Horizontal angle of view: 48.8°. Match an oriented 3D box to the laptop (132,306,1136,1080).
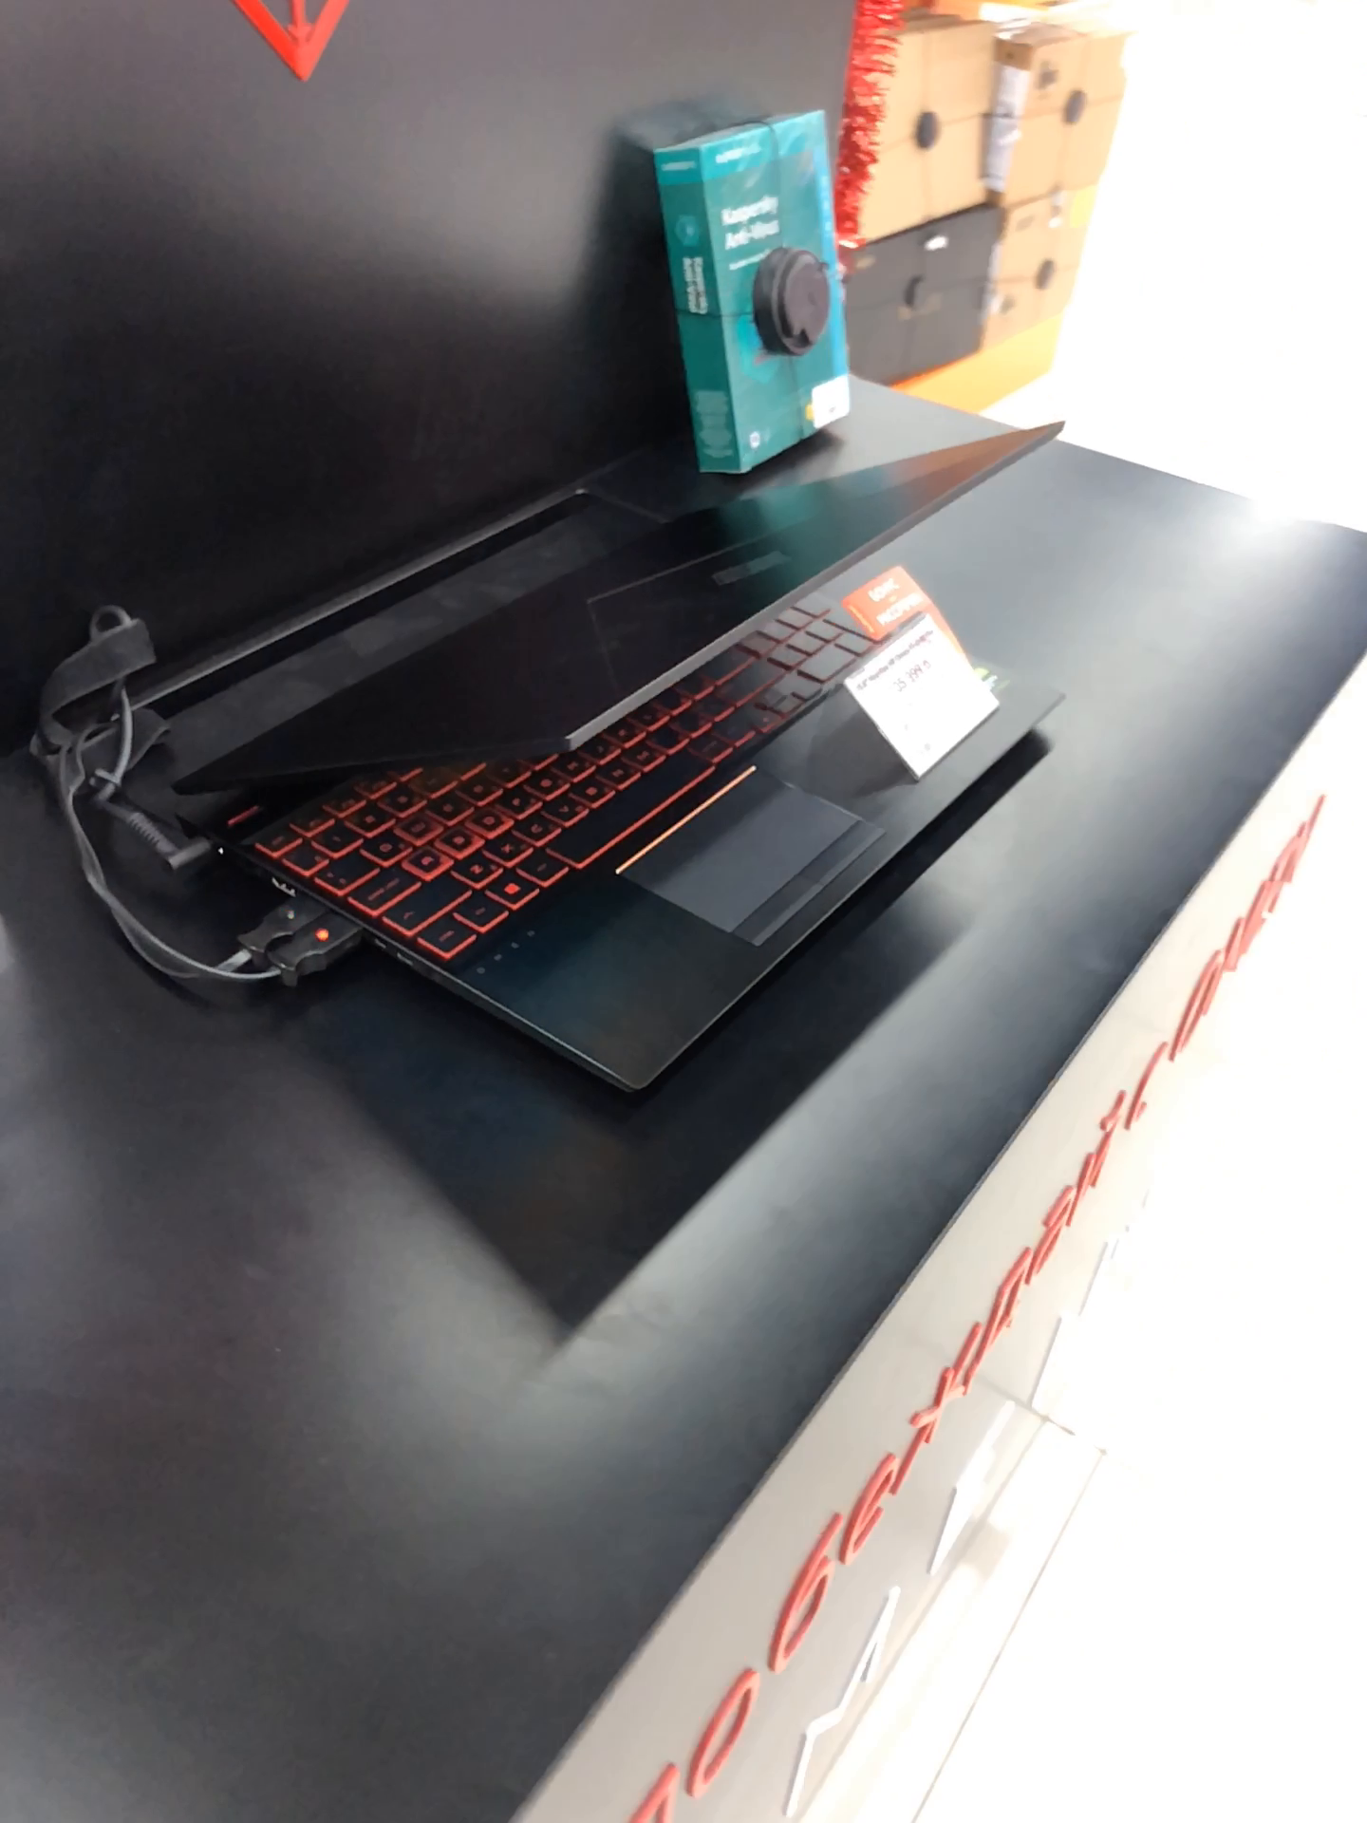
[{"bbox_3d":[-0.003,-0.124,0.647,0.231,0.121,0.351,30,46,25],"label":"laptop"}]
